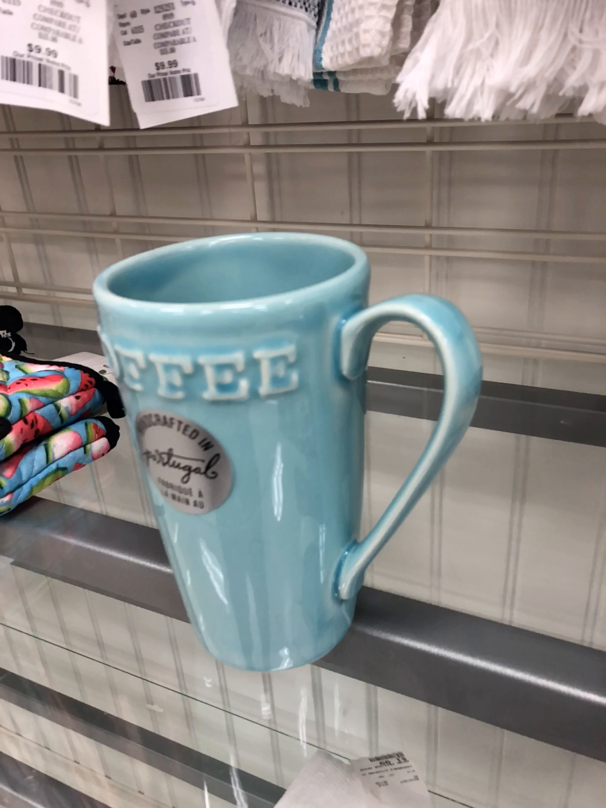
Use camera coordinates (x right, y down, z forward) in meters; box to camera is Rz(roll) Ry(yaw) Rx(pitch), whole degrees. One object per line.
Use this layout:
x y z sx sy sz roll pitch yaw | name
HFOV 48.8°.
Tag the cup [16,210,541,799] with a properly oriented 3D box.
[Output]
-0.006 0.018 0.230 0.130 0.139 0.090 17 33 36 | cup
